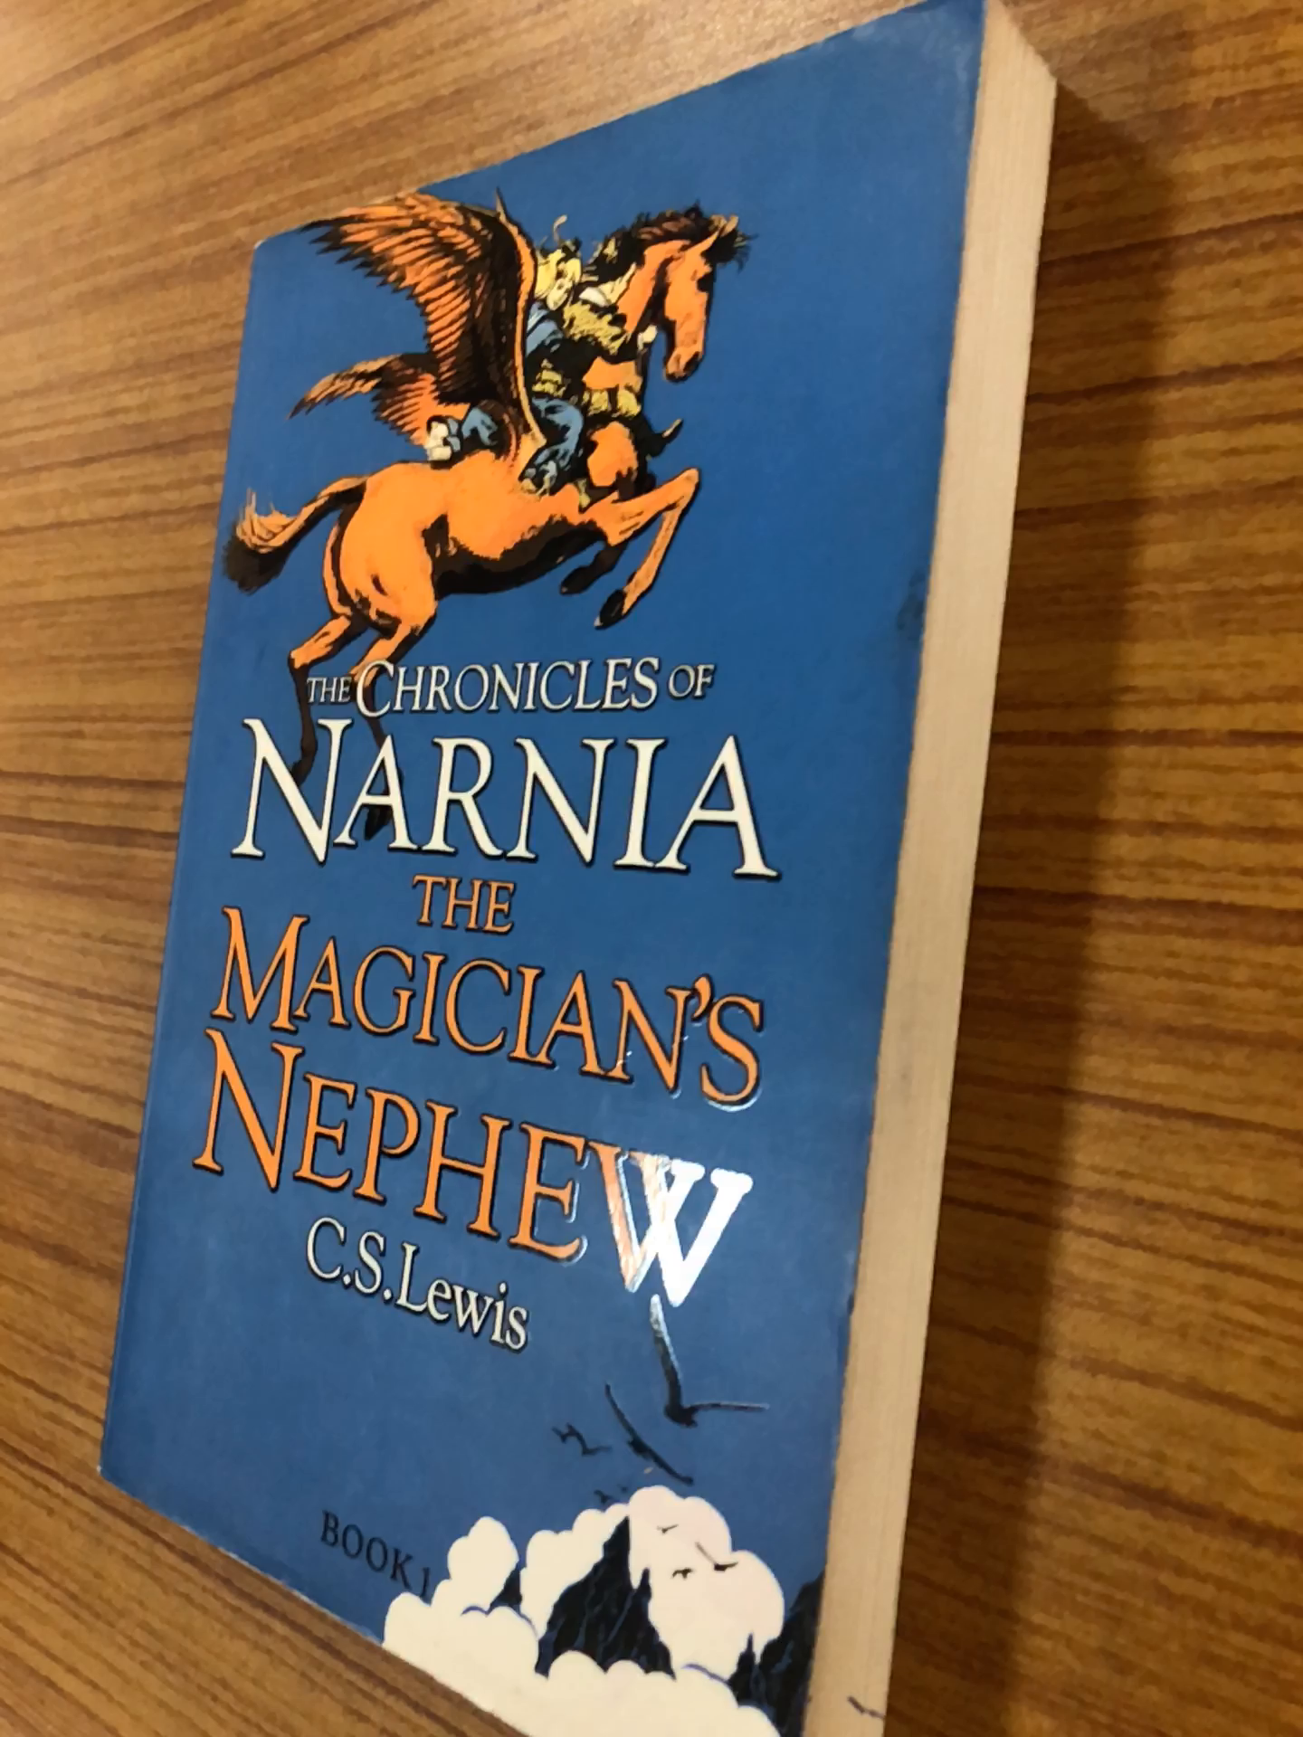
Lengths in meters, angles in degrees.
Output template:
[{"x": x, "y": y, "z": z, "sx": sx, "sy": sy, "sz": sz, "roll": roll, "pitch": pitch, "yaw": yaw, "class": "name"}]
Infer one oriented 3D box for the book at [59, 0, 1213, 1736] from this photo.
[{"x": -0.013, "y": 0.003, "z": 0.188, "sx": 0.141, "sy": 0.030, "sz": 0.190, "roll": 4, "pitch": 87, "yaw": 39, "class": "book"}]
